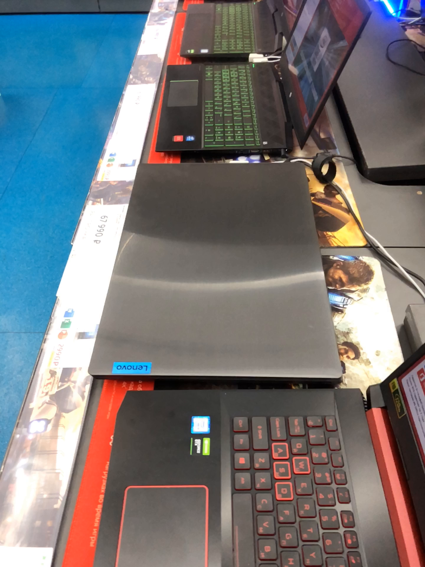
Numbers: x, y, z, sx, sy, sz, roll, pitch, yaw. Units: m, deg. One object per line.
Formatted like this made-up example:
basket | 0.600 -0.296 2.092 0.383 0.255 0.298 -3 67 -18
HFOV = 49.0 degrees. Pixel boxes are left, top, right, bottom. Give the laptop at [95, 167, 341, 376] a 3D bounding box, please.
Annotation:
laptop | 0.015 -0.047 0.640 0.268 0.002 0.391 1 48 3
